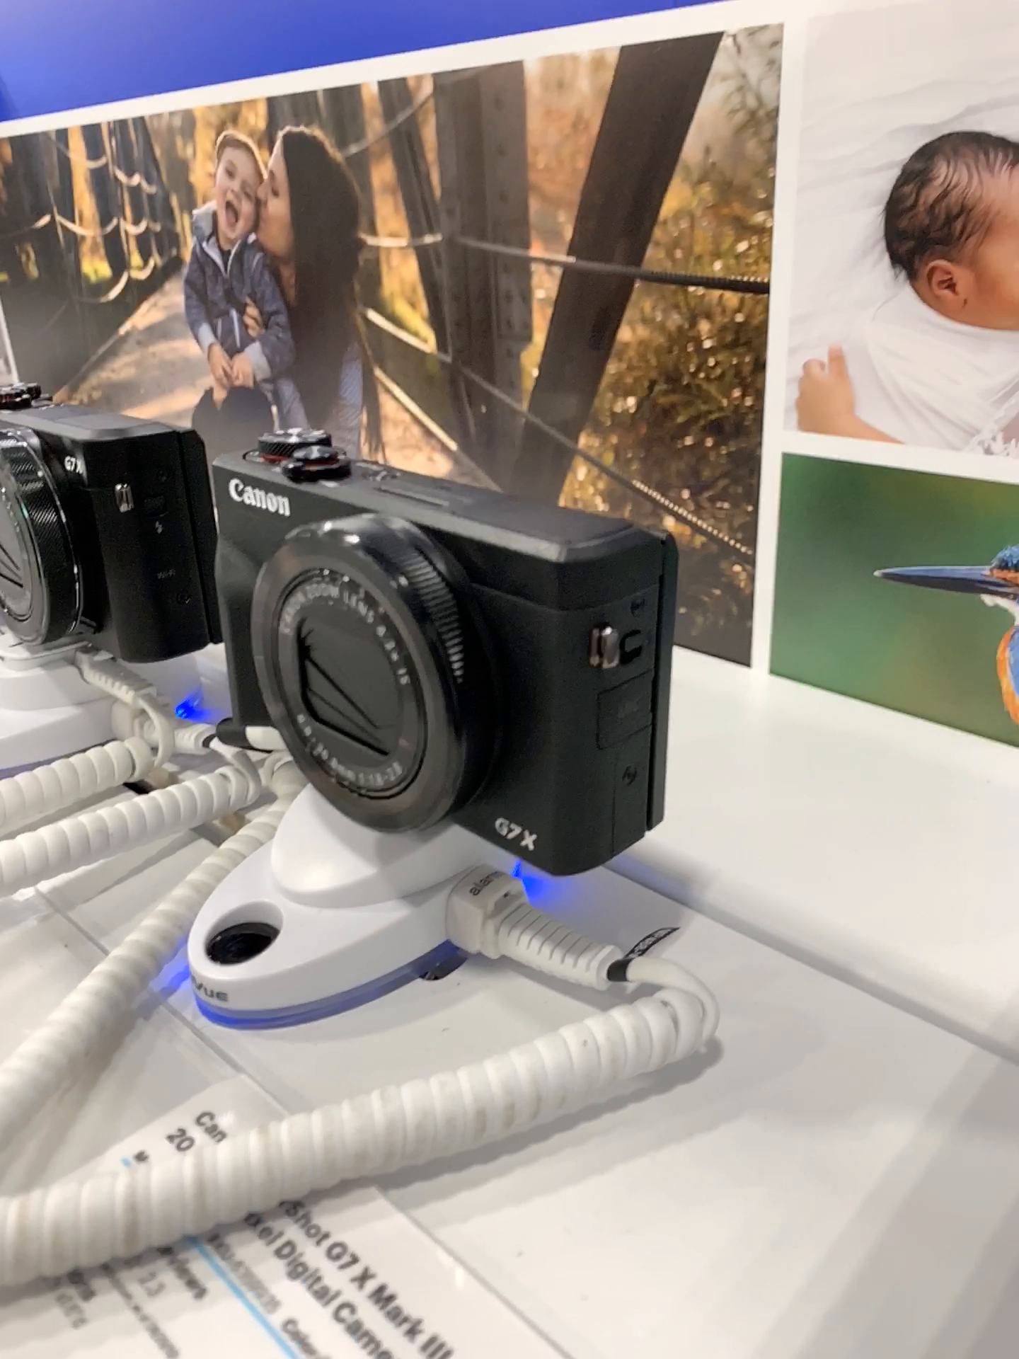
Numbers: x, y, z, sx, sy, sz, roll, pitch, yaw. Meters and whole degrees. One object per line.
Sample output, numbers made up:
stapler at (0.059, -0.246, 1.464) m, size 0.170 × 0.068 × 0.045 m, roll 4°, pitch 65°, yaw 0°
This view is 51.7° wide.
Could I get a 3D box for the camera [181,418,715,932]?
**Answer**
camera at (-0.017, -0.010, 0.215) m, size 0.040 × 0.070 × 0.110 m, roll -21°, pitch 30°, yaw -40°
